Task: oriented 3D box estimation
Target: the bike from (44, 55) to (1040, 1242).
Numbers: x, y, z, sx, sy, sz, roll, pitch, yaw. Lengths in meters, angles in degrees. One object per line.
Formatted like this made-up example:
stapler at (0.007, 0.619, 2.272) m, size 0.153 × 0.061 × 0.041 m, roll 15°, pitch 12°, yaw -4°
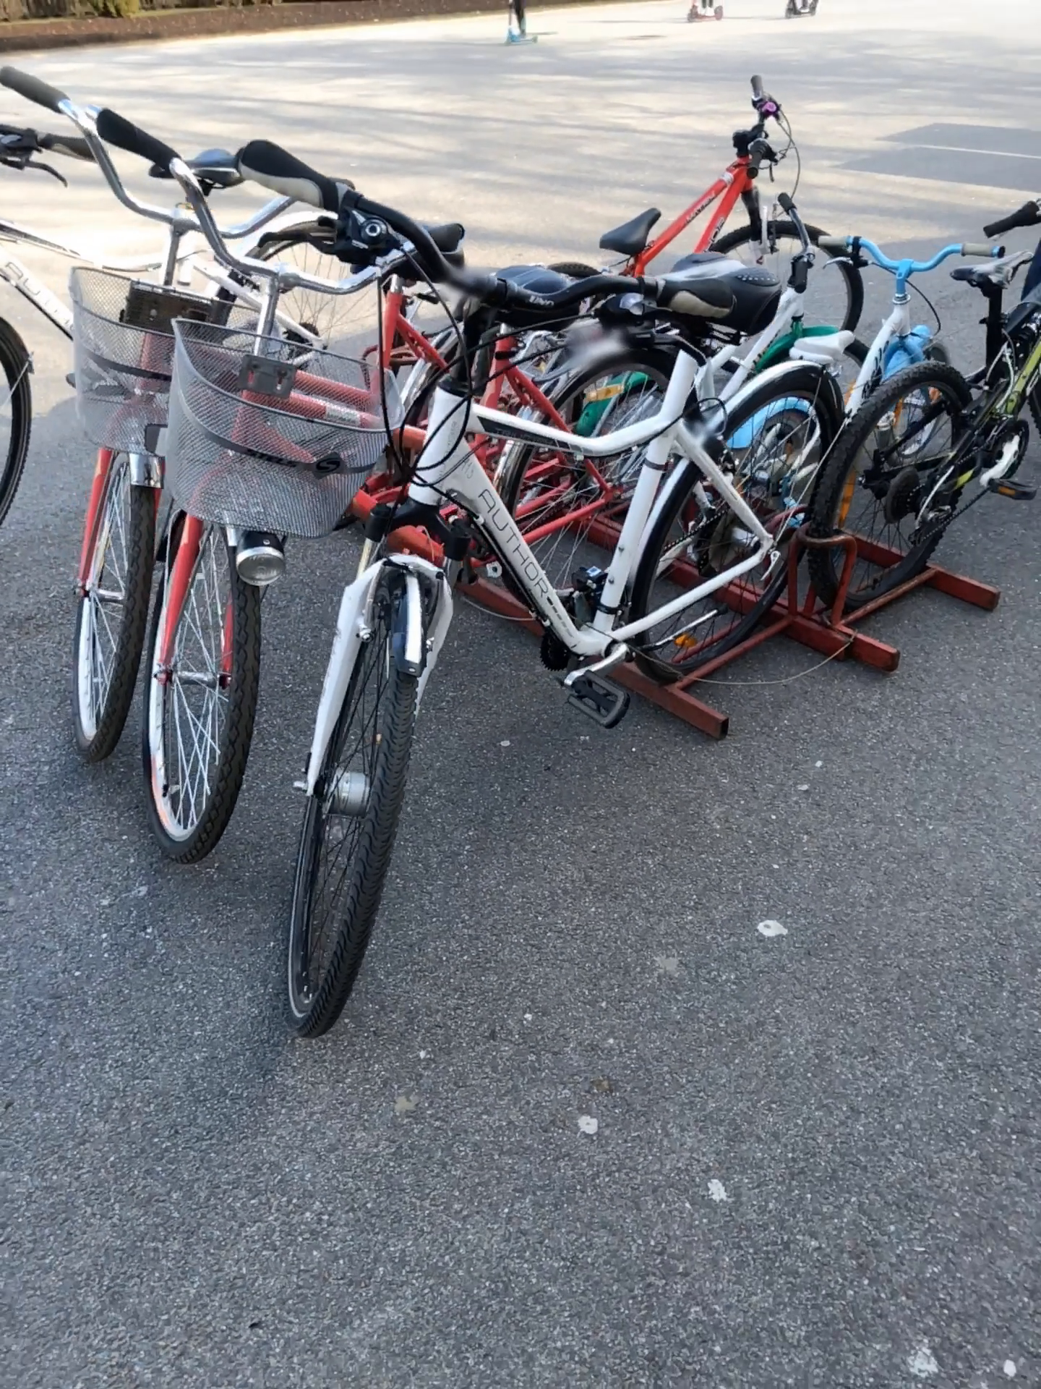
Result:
bike at (0.252, -0.284, 1.800) m, size 0.620 × 1.163 × 1.607 m, roll 18°, pitch 38°, yaw 29°
